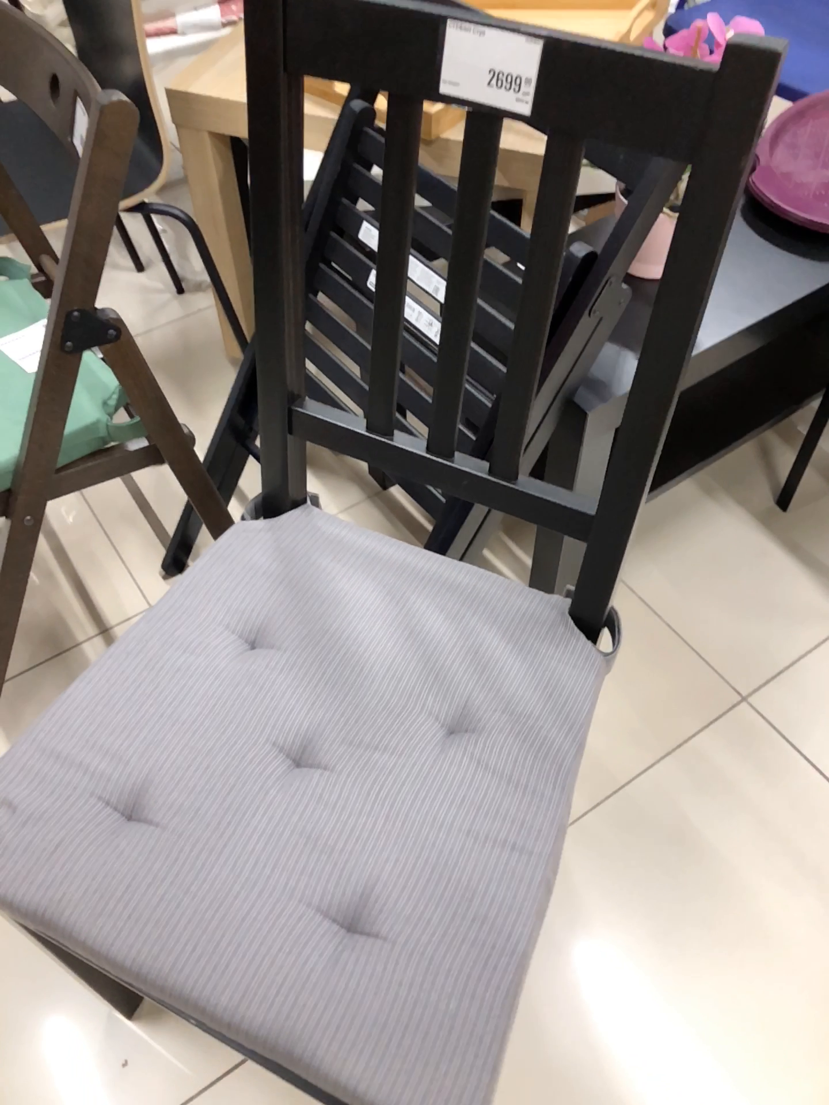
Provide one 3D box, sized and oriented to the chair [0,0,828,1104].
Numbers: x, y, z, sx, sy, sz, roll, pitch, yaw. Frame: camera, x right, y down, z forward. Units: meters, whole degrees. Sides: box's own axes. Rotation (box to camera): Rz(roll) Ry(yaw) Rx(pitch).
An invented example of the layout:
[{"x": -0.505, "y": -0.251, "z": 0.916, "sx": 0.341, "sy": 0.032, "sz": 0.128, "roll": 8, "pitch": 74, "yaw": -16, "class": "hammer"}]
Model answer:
[{"x": -0.063, "y": 0.135, "z": 0.717, "sx": 0.410, "sy": 0.895, "sz": 0.493, "roll": 21, "pitch": 55, "yaw": 17, "class": "chair"}]
